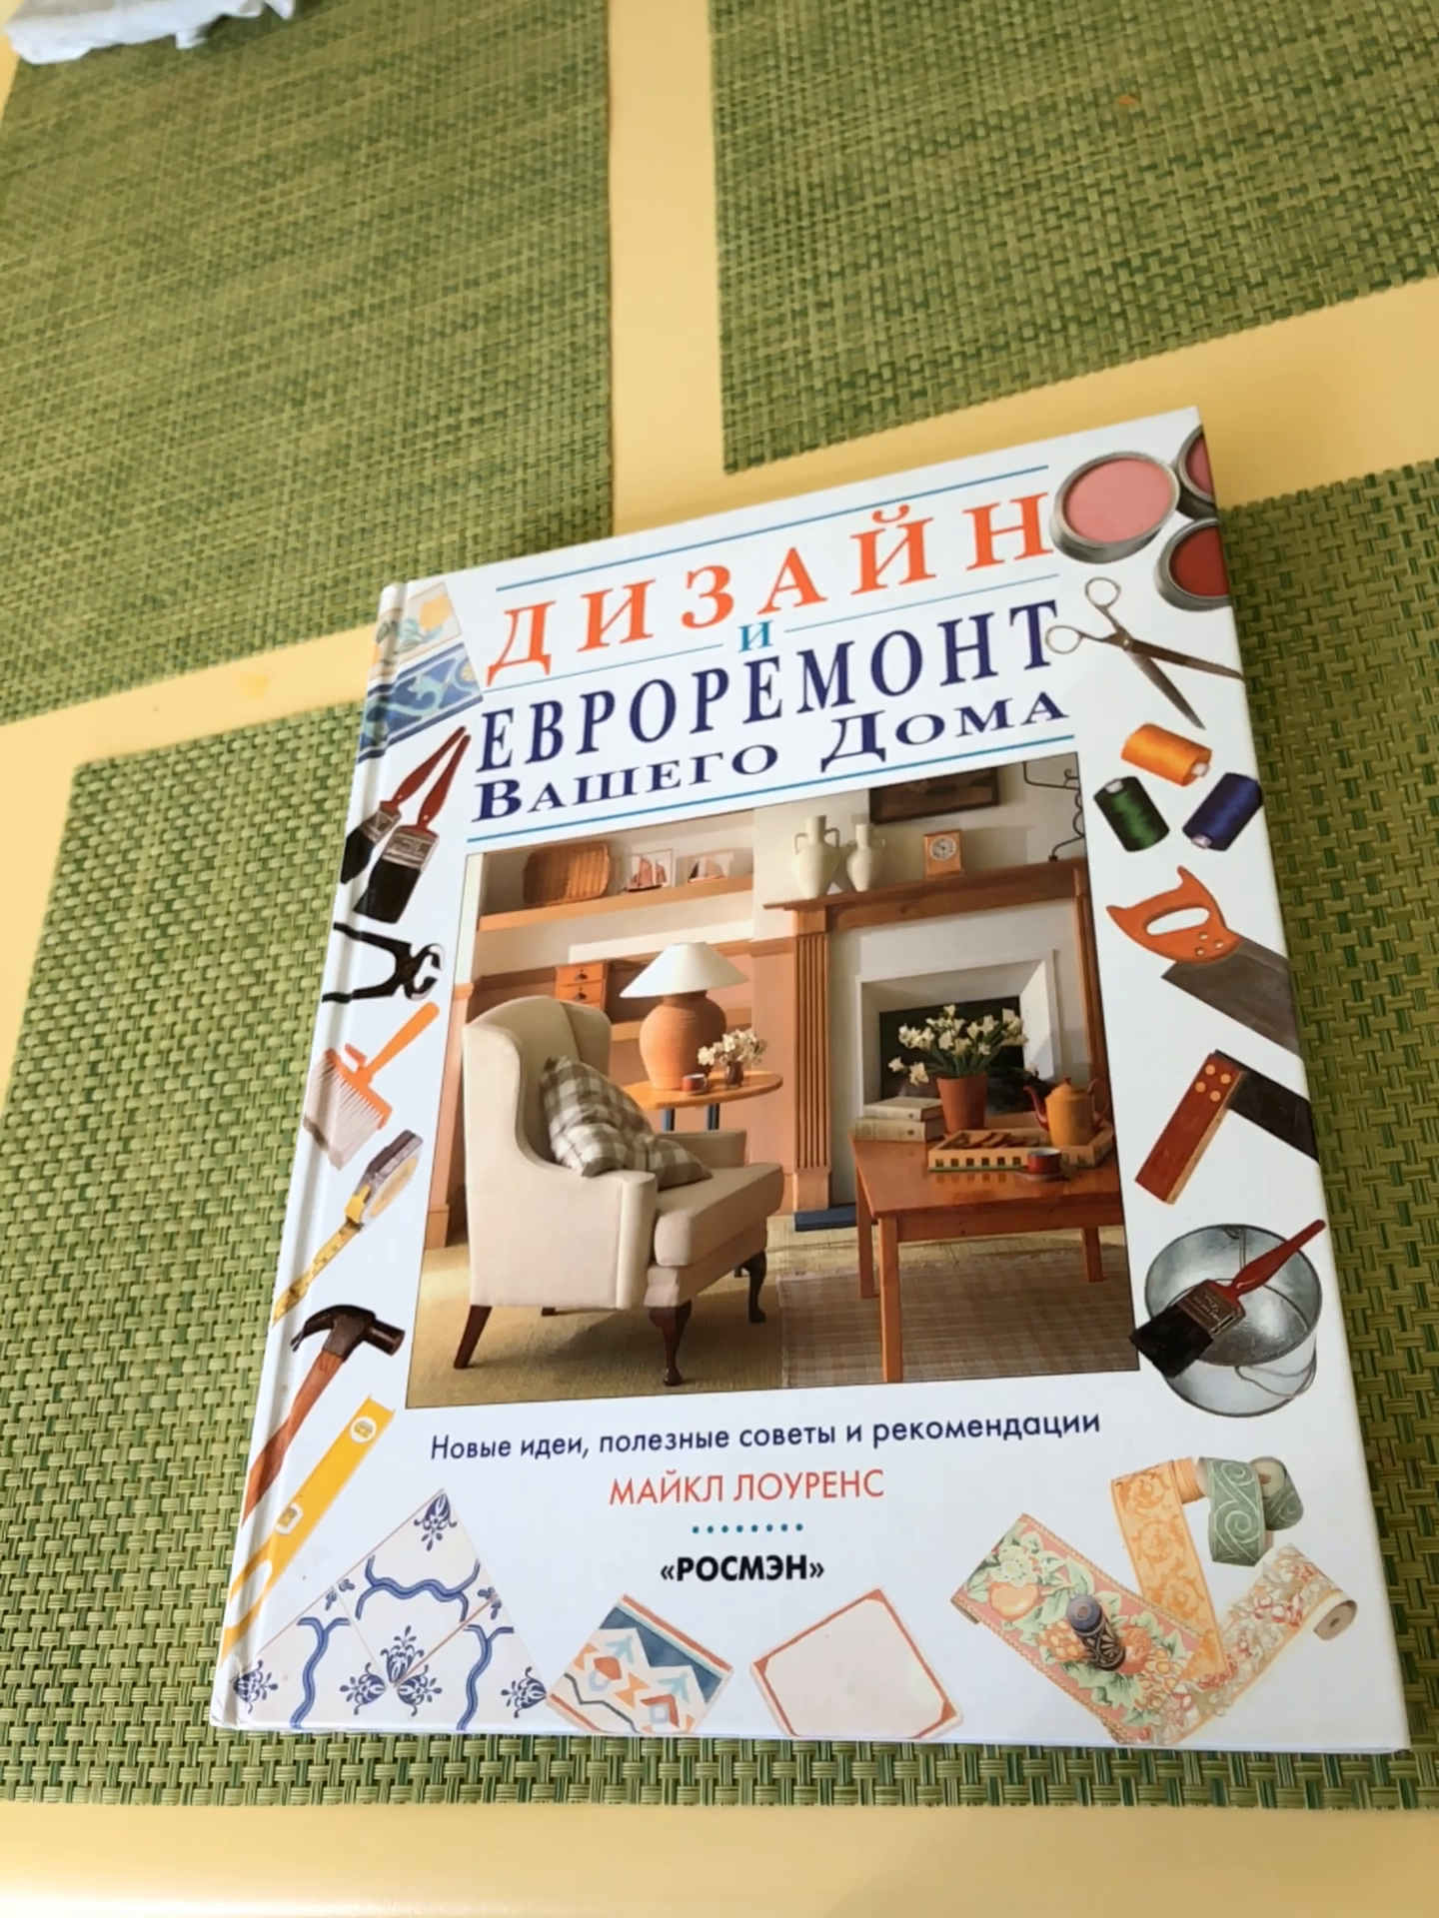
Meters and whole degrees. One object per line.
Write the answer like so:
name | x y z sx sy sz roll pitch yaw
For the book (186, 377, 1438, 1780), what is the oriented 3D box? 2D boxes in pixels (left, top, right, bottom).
book | 0.015 0.014 0.334 0.213 0.038 0.276 -7 61 16
